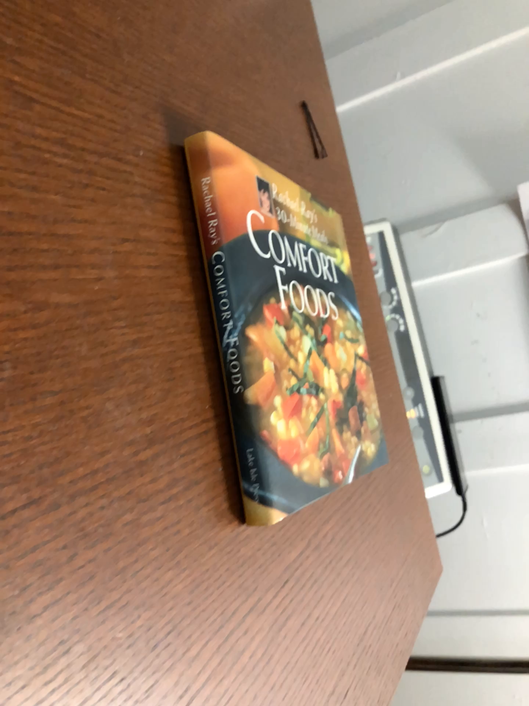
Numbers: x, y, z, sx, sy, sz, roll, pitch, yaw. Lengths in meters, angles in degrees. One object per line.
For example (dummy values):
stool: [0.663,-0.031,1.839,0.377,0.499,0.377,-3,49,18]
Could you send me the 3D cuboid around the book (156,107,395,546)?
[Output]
book: [0.021,-0.013,0.374,0.201,0.030,0.210,2,76,-63]
